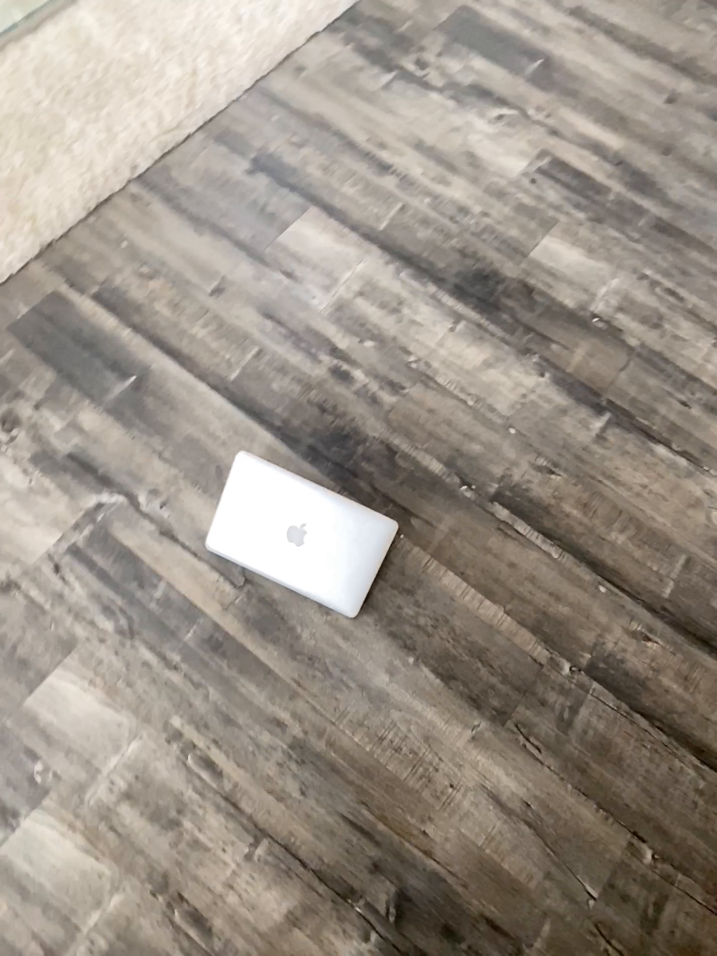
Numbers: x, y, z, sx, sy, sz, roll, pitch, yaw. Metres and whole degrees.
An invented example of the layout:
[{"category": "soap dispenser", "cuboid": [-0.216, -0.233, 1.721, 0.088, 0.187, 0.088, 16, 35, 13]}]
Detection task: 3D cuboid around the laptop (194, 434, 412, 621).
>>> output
[{"category": "laptop", "cuboid": [-0.084, 0.078, 1.139, 0.270, 0.113, 0.173, 24, 68, 9]}]
